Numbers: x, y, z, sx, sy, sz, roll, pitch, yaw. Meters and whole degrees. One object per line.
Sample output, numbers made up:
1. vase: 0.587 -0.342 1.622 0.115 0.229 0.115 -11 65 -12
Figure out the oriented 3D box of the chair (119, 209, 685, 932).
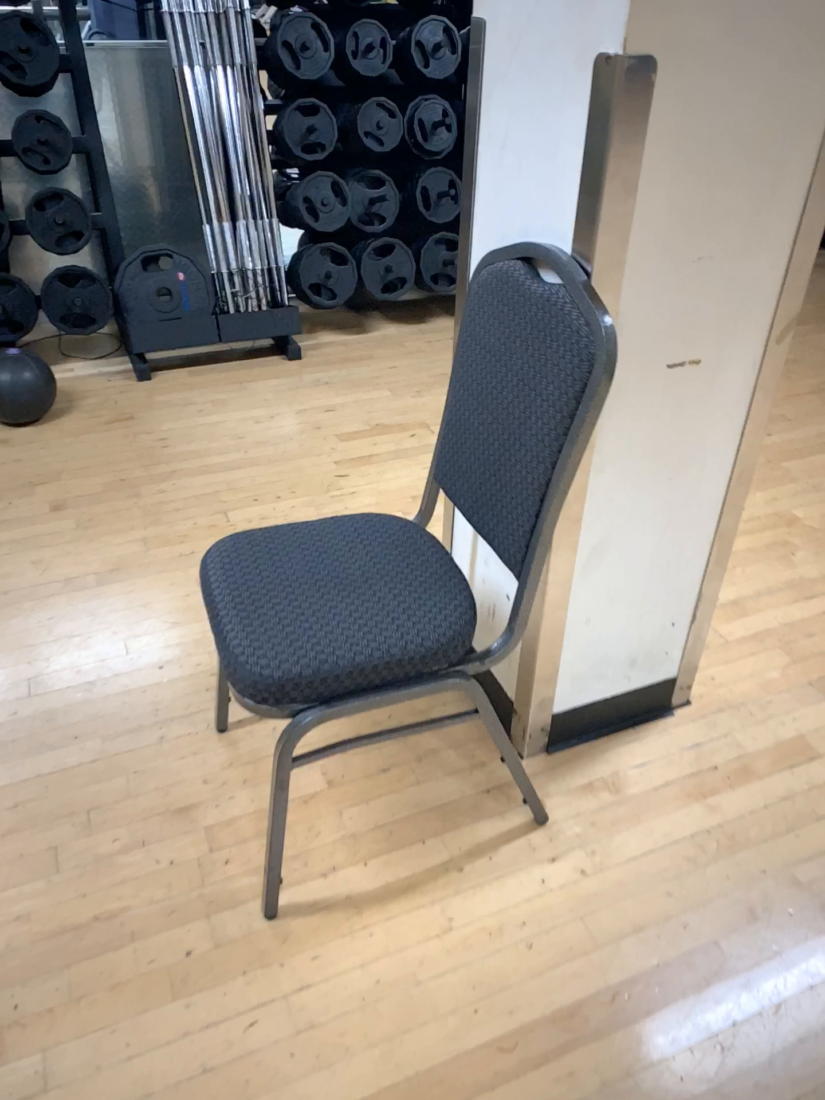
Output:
1. chair: -0.053 0.027 1.274 0.565 0.908 0.466 -12 37 -18
